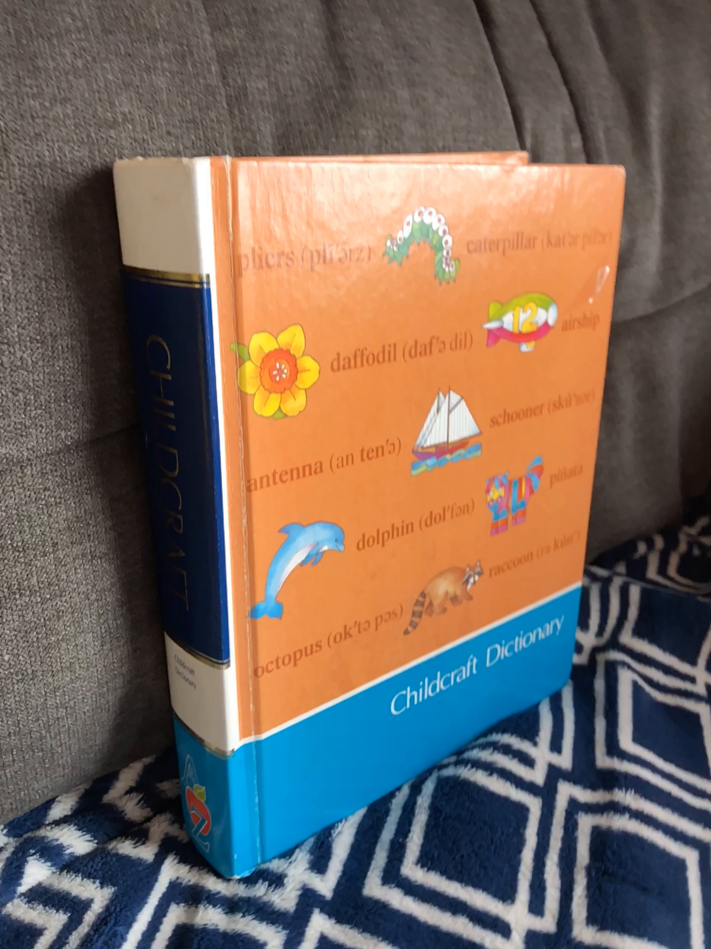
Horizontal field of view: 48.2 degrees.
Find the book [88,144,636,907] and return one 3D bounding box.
[{"bbox_3d":[0.017,0.007,0.331,0.210,0.260,0.055,-16,25,-36],"label":"book"}]
